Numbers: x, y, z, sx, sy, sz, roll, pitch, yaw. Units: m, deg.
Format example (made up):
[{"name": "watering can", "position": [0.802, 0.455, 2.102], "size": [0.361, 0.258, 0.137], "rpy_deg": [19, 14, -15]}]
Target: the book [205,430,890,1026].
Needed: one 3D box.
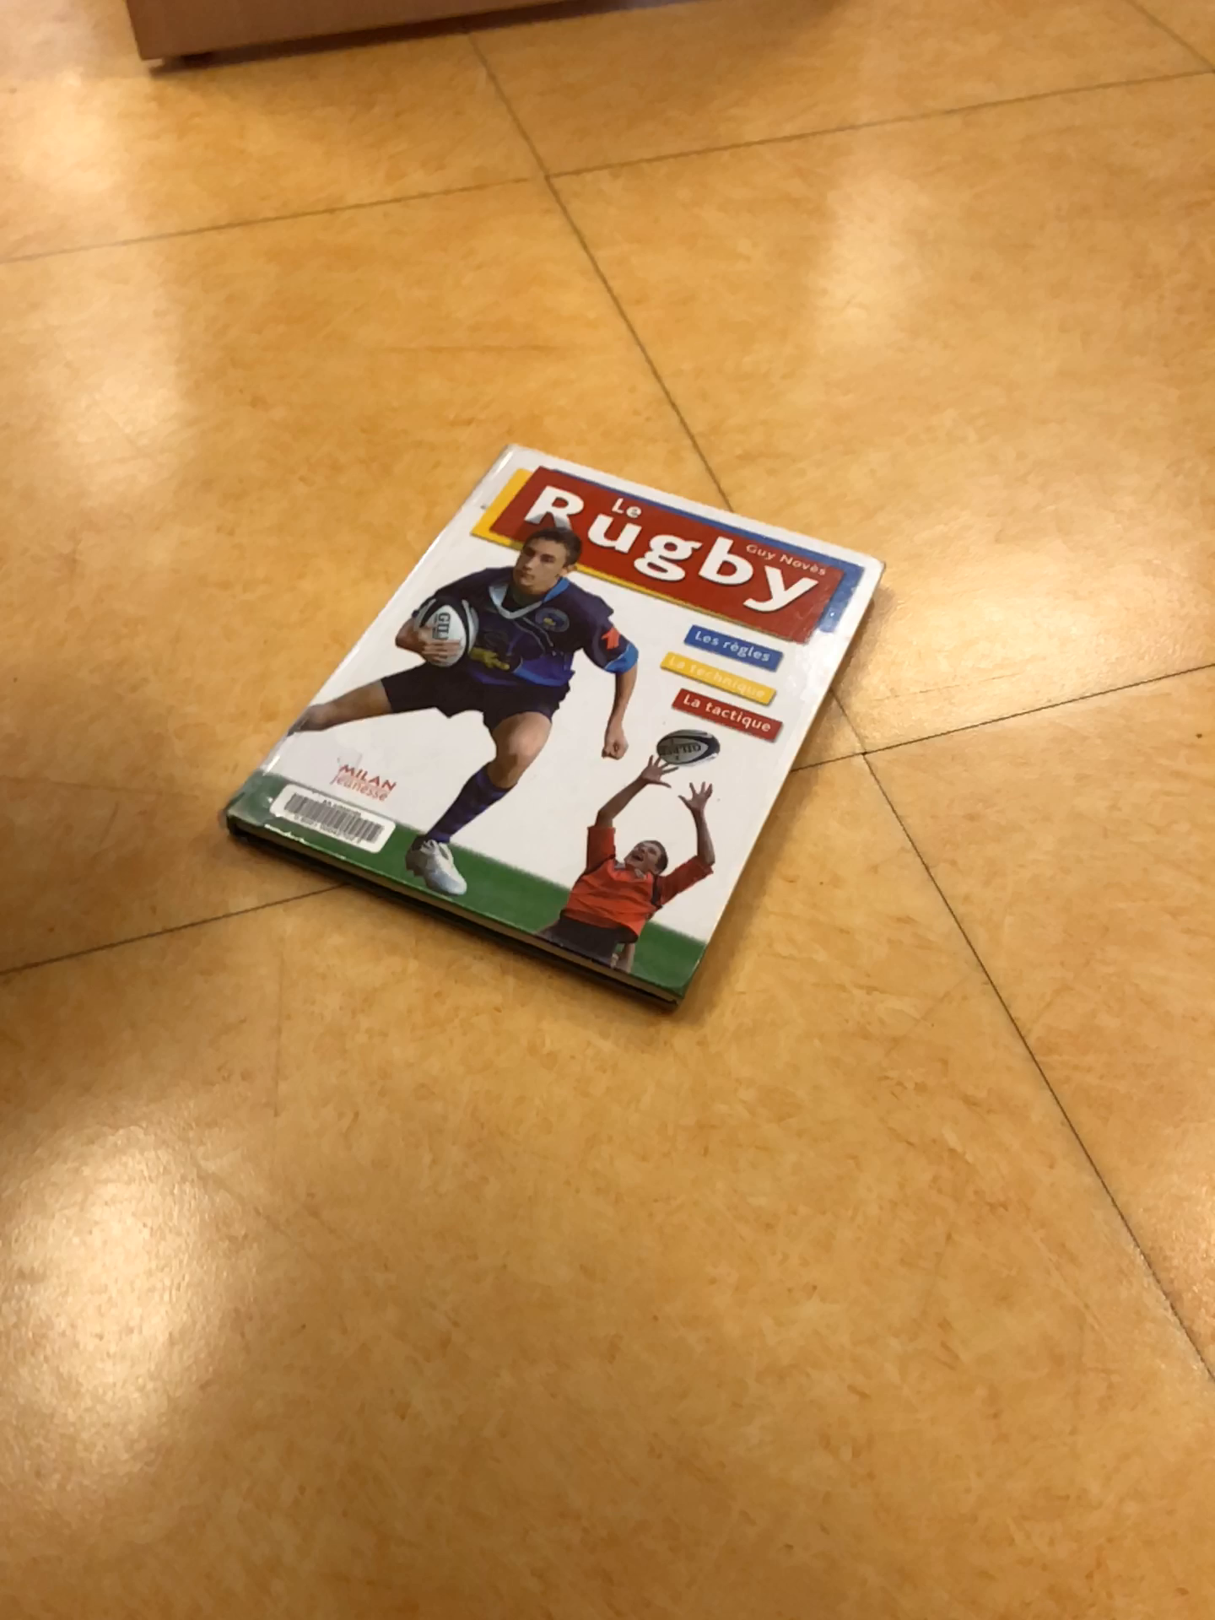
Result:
[{"name": "book", "position": [-0.014, -0.055, 0.587], "size": [0.203, 0.024, 0.261], "rpy_deg": [21, 55, 13]}]
